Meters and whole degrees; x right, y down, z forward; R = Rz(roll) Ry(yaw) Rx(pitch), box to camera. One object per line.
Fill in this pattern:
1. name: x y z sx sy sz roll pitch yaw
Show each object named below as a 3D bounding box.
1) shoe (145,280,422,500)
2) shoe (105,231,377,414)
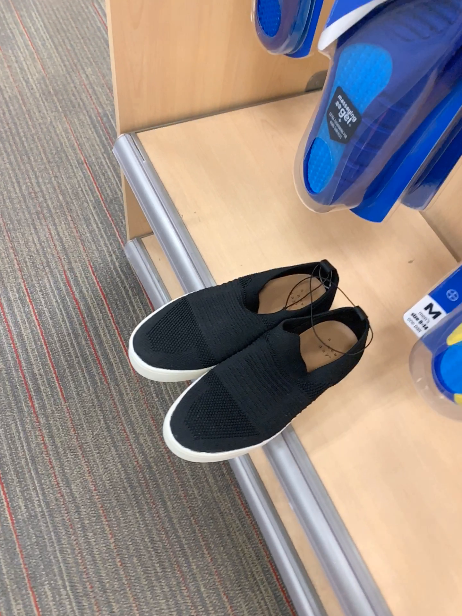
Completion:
1. shoe: 0.053 0.084 0.512 0.270 0.100 0.100 -25 70 -20
2. shoe: 0.010 0.014 0.539 0.270 0.100 0.100 -18 68 -18
